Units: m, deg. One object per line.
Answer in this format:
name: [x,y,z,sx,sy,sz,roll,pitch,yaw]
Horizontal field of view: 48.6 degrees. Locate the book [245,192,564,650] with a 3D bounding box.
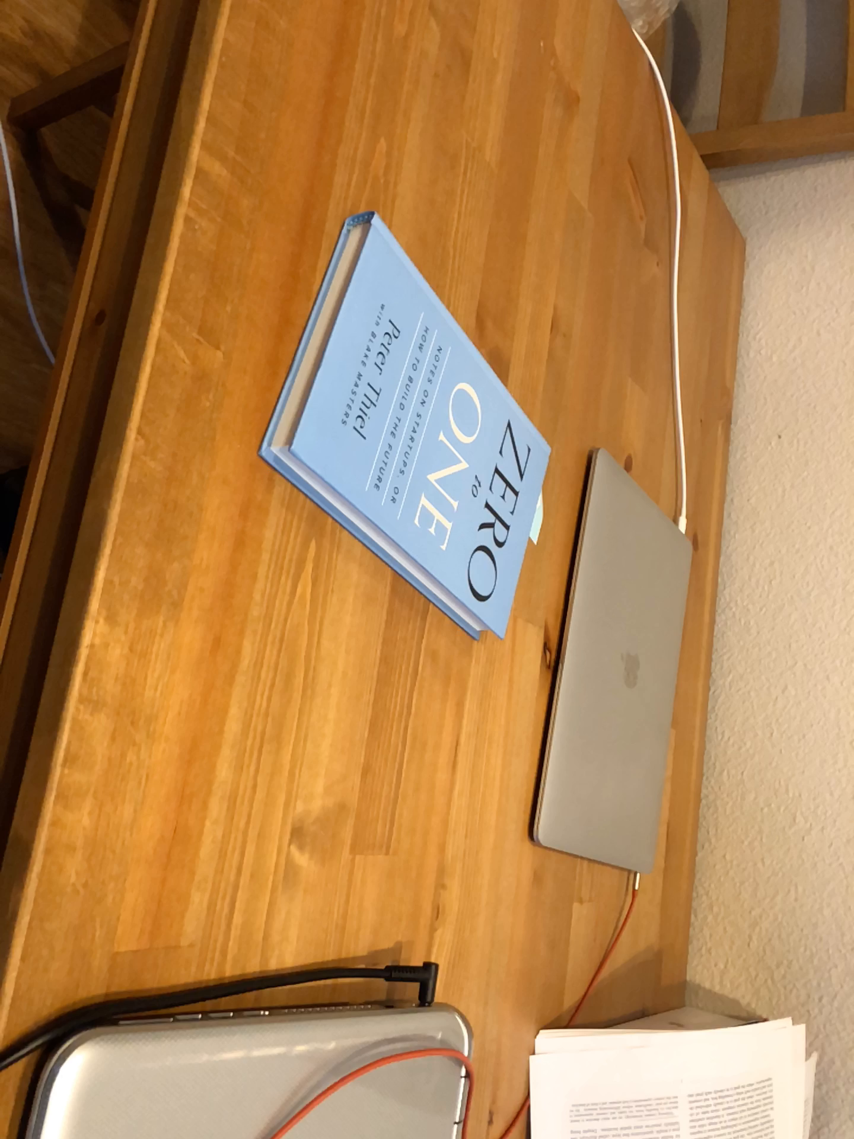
book: [0.004,-0.067,0.514,0.211,0.030,0.150,42,56,-47]
